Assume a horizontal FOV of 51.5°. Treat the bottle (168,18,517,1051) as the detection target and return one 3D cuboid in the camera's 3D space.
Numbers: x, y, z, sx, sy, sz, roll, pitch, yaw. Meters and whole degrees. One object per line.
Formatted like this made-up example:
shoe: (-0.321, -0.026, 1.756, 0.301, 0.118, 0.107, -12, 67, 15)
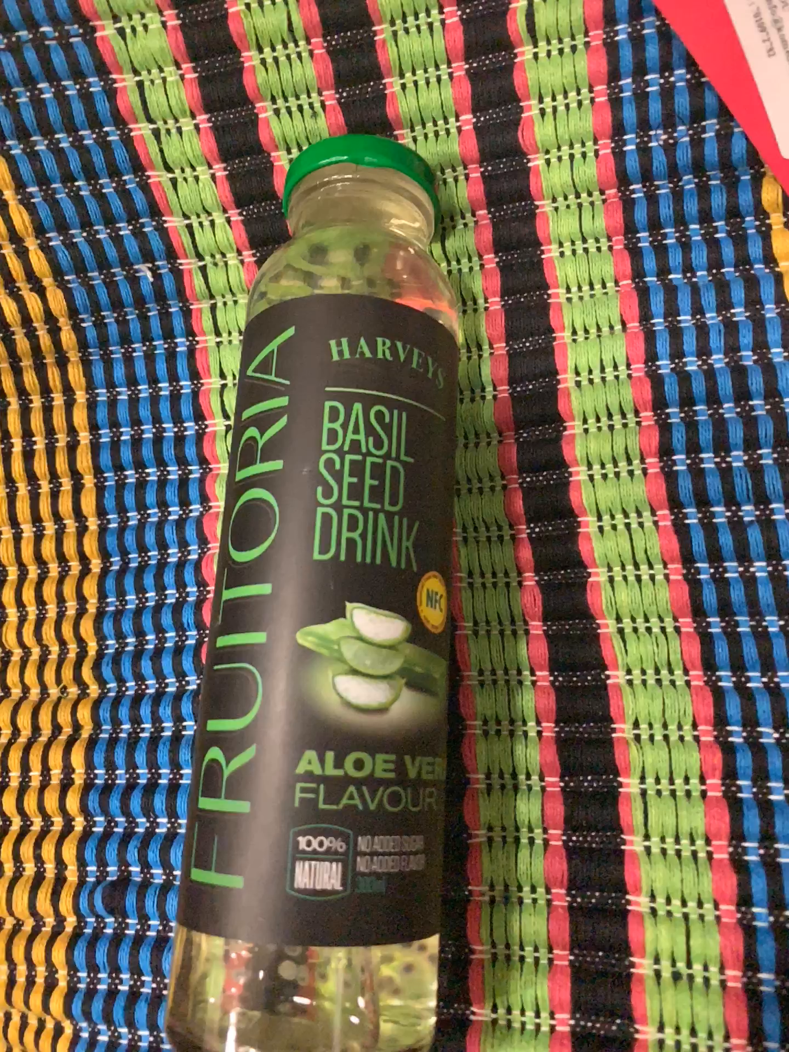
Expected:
bottle: (-0.011, 0.005, 0.177, 0.050, 0.060, 0.200, 7, 77, -17)
